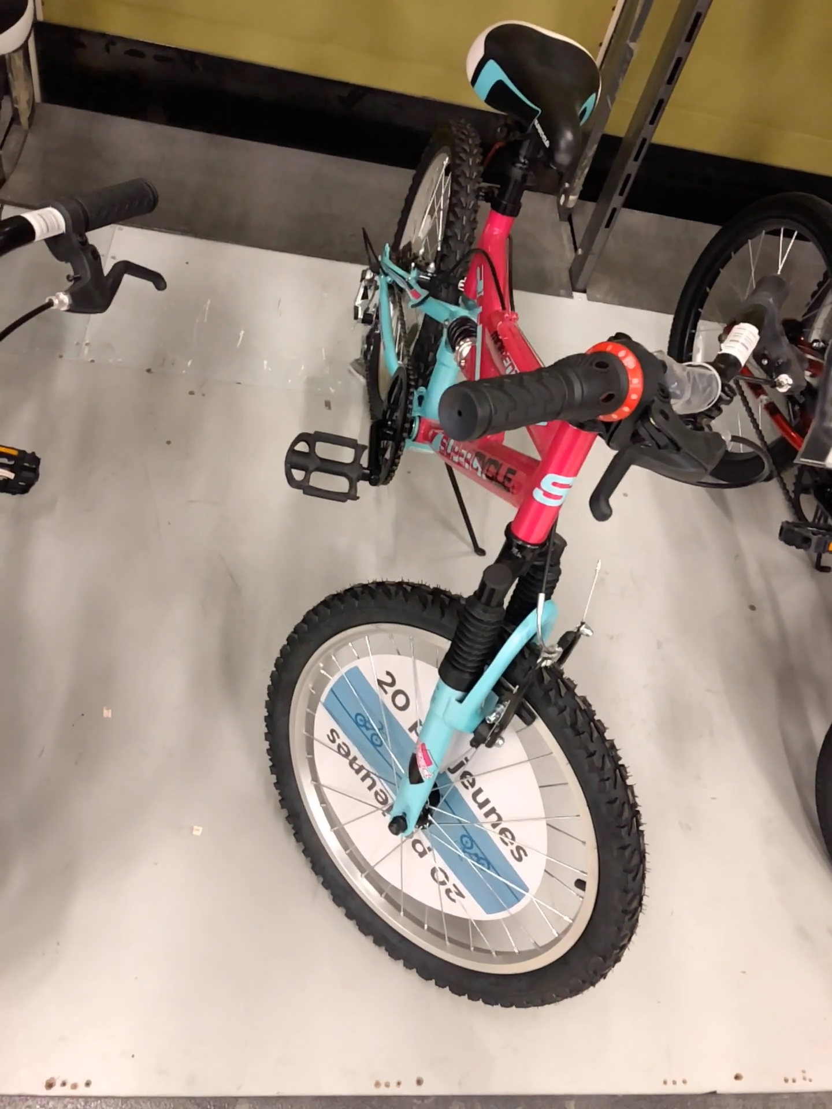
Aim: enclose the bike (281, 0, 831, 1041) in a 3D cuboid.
[{"bbox_3d":[0.184,-0.153,1.121,0.563,0.765,1.218,1,59,-14],"label":"bike"}]
